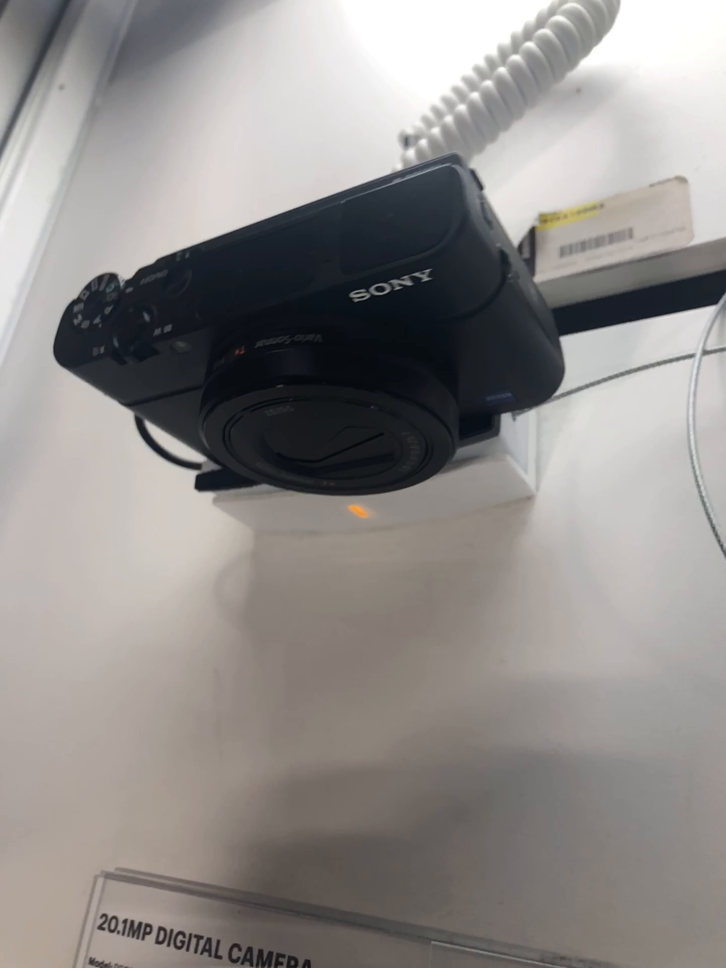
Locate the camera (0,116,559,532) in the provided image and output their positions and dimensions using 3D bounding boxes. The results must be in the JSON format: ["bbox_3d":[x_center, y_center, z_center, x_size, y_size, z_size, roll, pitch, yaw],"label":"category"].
[{"bbox_3d":[-0.017,-0.025,0.172,0.102,0.051,0.041,-10,59,29],"label":"camera"}]
